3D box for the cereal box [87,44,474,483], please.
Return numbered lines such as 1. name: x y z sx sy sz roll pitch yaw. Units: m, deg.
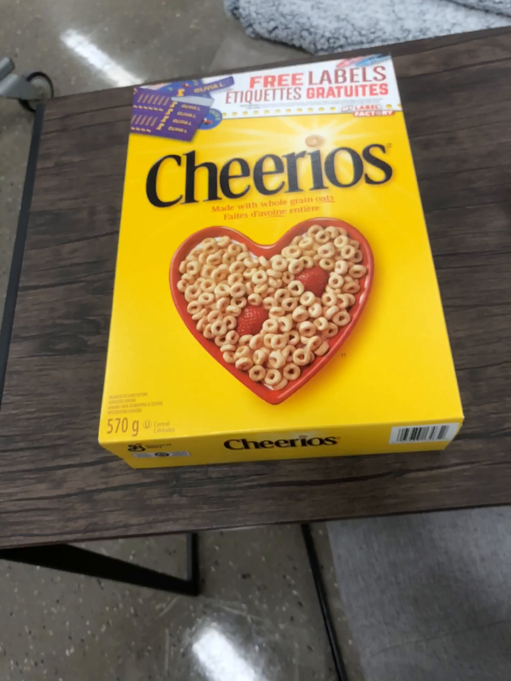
1. cereal box: 0.011 -0.072 0.471 0.240 0.100 0.340 -5 63 6
